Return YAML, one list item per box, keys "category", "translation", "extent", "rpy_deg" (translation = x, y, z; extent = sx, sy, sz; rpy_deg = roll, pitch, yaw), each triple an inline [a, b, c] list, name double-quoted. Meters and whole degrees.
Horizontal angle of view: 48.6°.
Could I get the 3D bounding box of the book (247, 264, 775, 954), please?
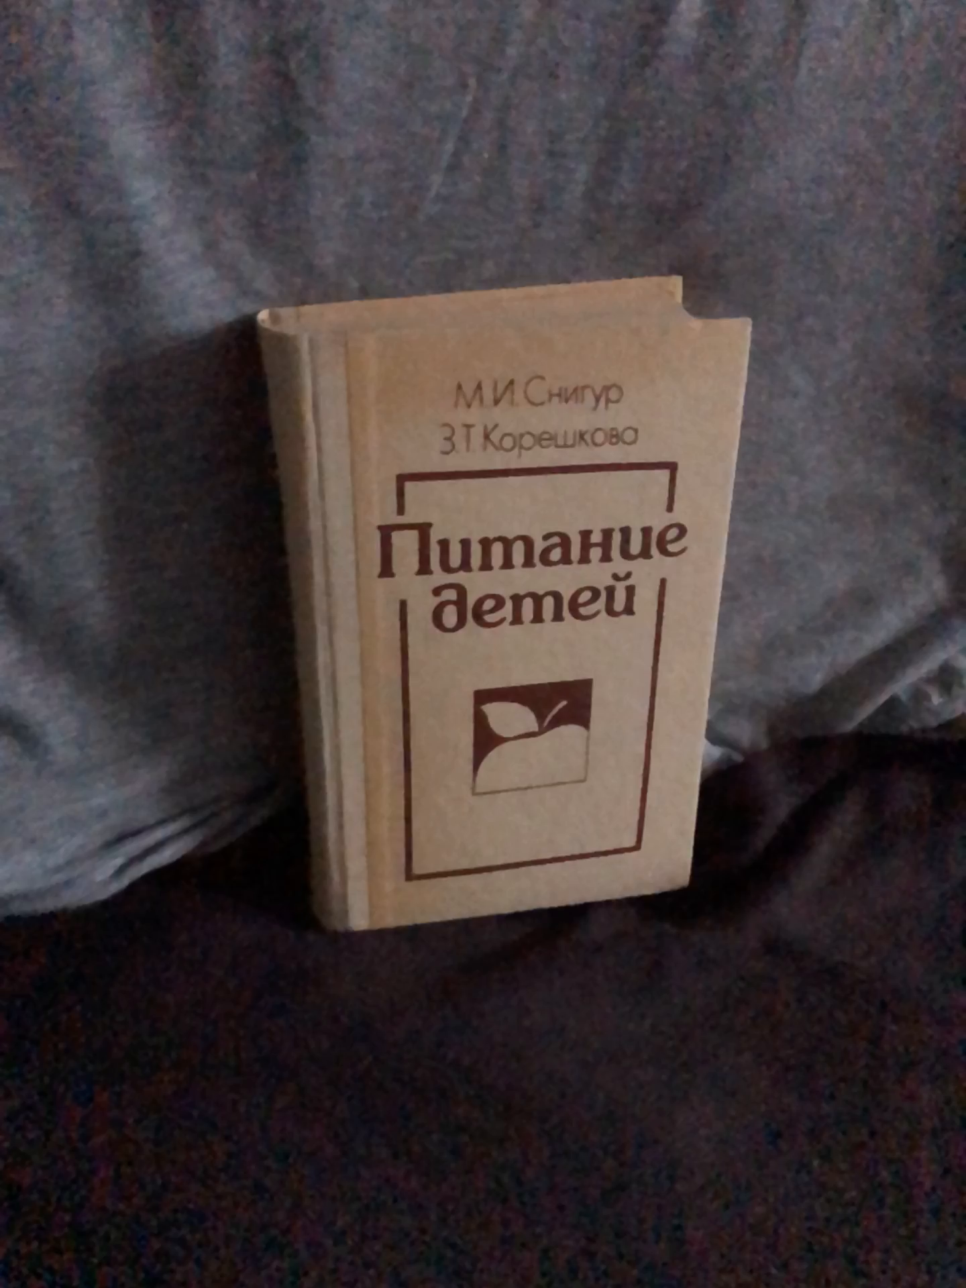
- category: "book"
  translation: [0.009, -0.004, 0.354]
  extent: [0.144, 0.219, 0.041]
  rpy_deg: [-6, 29, -9]
